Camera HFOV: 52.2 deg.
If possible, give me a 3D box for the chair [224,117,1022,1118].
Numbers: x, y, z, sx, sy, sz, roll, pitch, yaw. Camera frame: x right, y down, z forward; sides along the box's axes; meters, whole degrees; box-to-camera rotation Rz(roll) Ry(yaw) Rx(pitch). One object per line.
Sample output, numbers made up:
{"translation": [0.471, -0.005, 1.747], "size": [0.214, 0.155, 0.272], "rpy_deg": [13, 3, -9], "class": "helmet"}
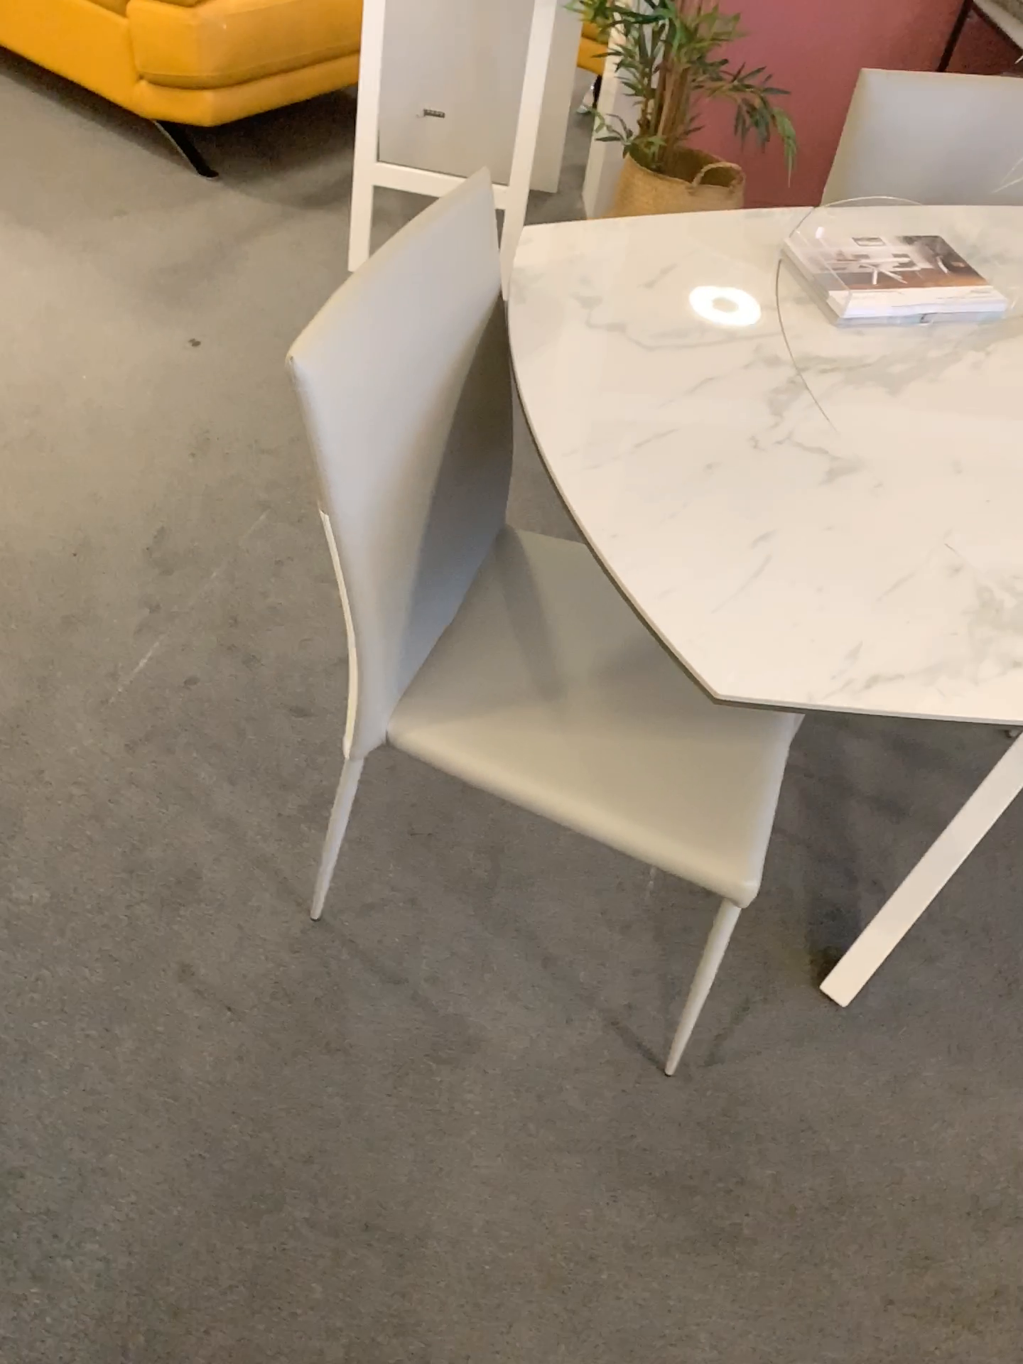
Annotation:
{"translation": [0.112, -0.024, 1.150], "size": [0.581, 0.823, 0.536], "rpy_deg": [19, 49, 7], "class": "chair"}
